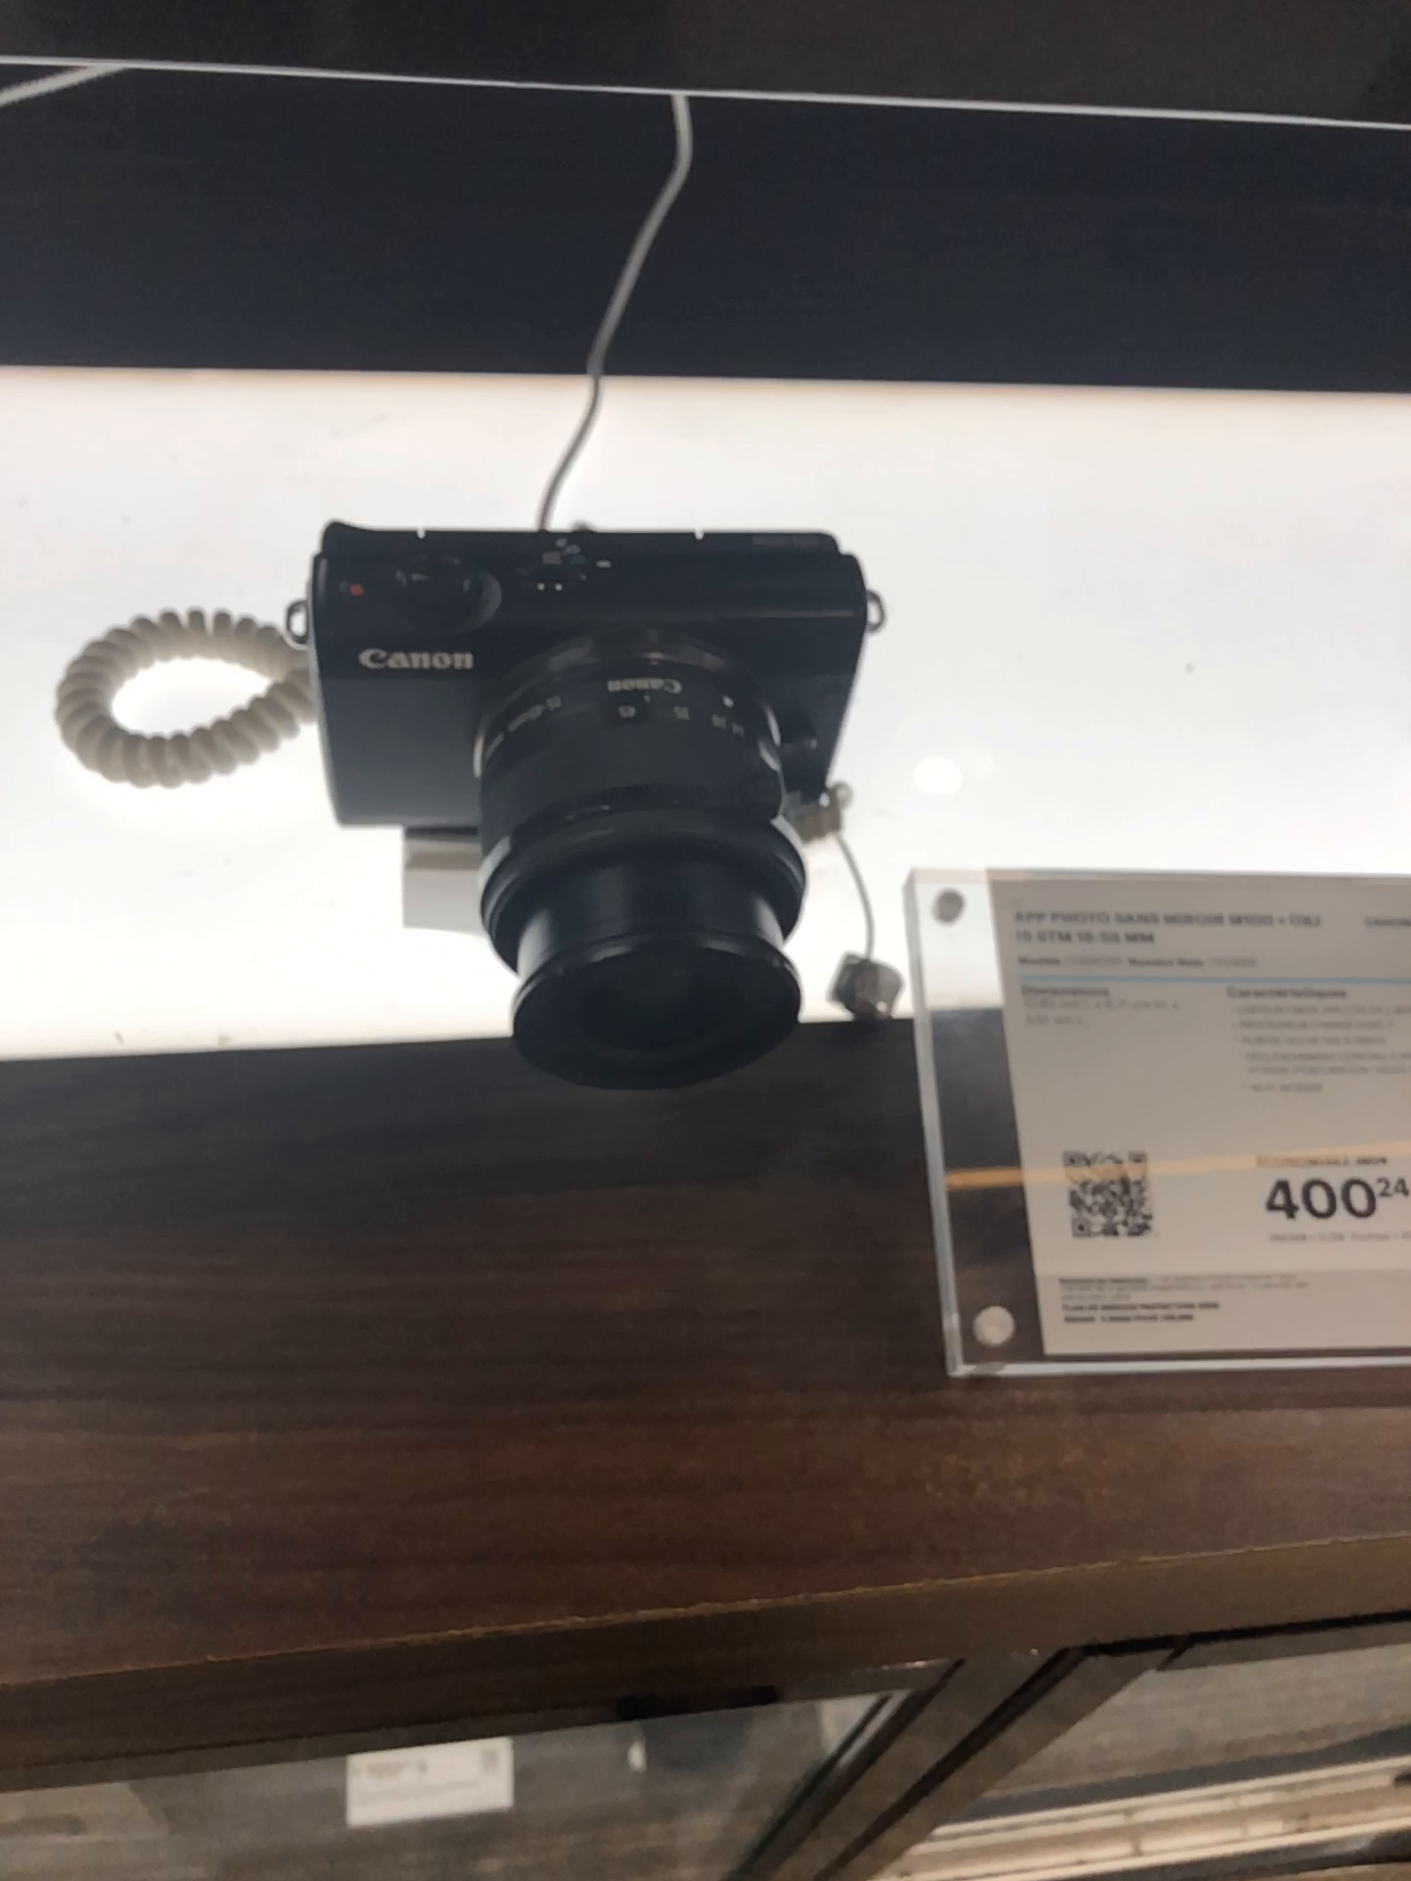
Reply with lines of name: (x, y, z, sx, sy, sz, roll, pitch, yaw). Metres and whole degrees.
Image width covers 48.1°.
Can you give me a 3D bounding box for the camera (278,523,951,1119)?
camera: (-0.022, -0.026, 0.319, 0.112, 0.071, 0.094, -2, 51, -8)
